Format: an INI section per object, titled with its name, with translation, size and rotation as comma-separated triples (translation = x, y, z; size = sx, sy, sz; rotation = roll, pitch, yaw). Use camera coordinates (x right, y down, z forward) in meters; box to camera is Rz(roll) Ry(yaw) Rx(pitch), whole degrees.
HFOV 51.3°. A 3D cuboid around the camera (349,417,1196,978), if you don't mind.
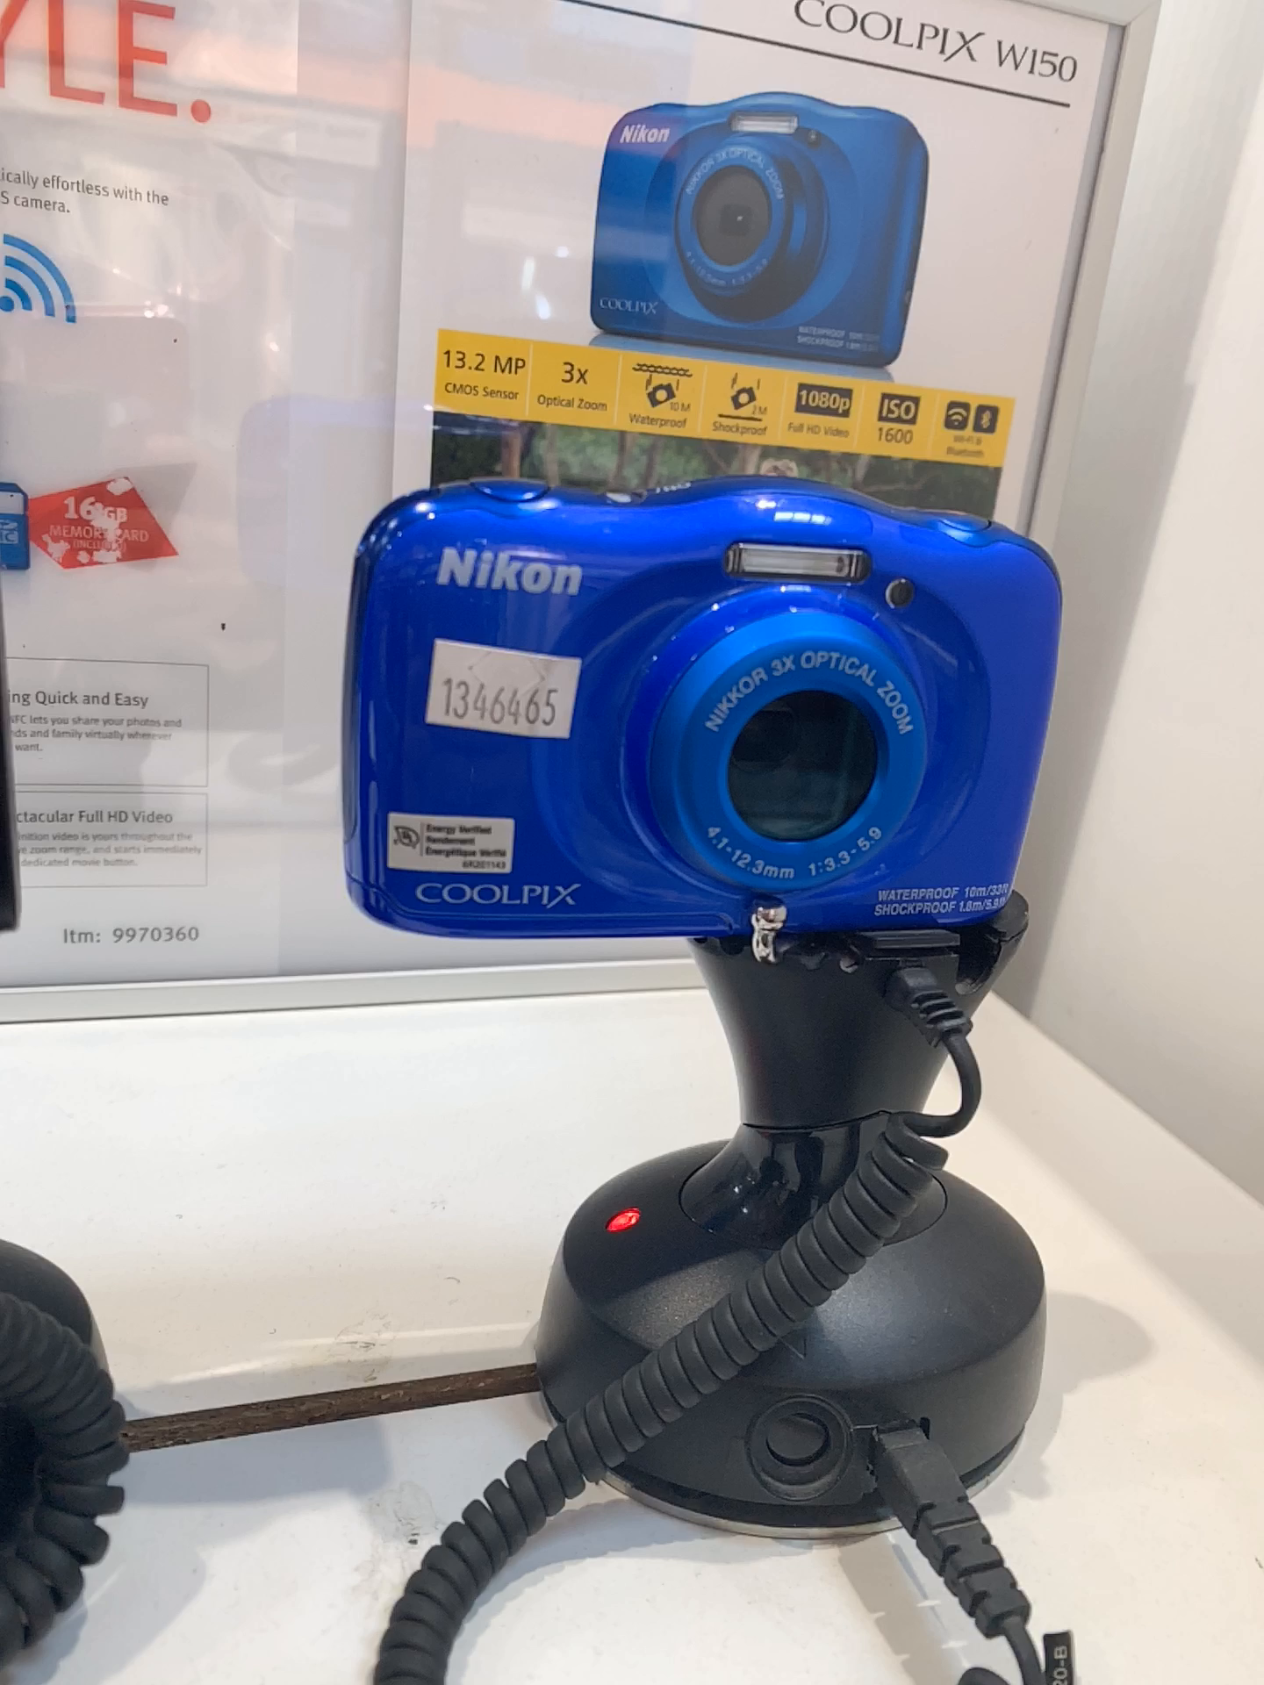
[camera]
translation = 0.015, -0.021, 0.185
size = 0.101, 0.063, 0.046
rotation = 1, 18, -18
